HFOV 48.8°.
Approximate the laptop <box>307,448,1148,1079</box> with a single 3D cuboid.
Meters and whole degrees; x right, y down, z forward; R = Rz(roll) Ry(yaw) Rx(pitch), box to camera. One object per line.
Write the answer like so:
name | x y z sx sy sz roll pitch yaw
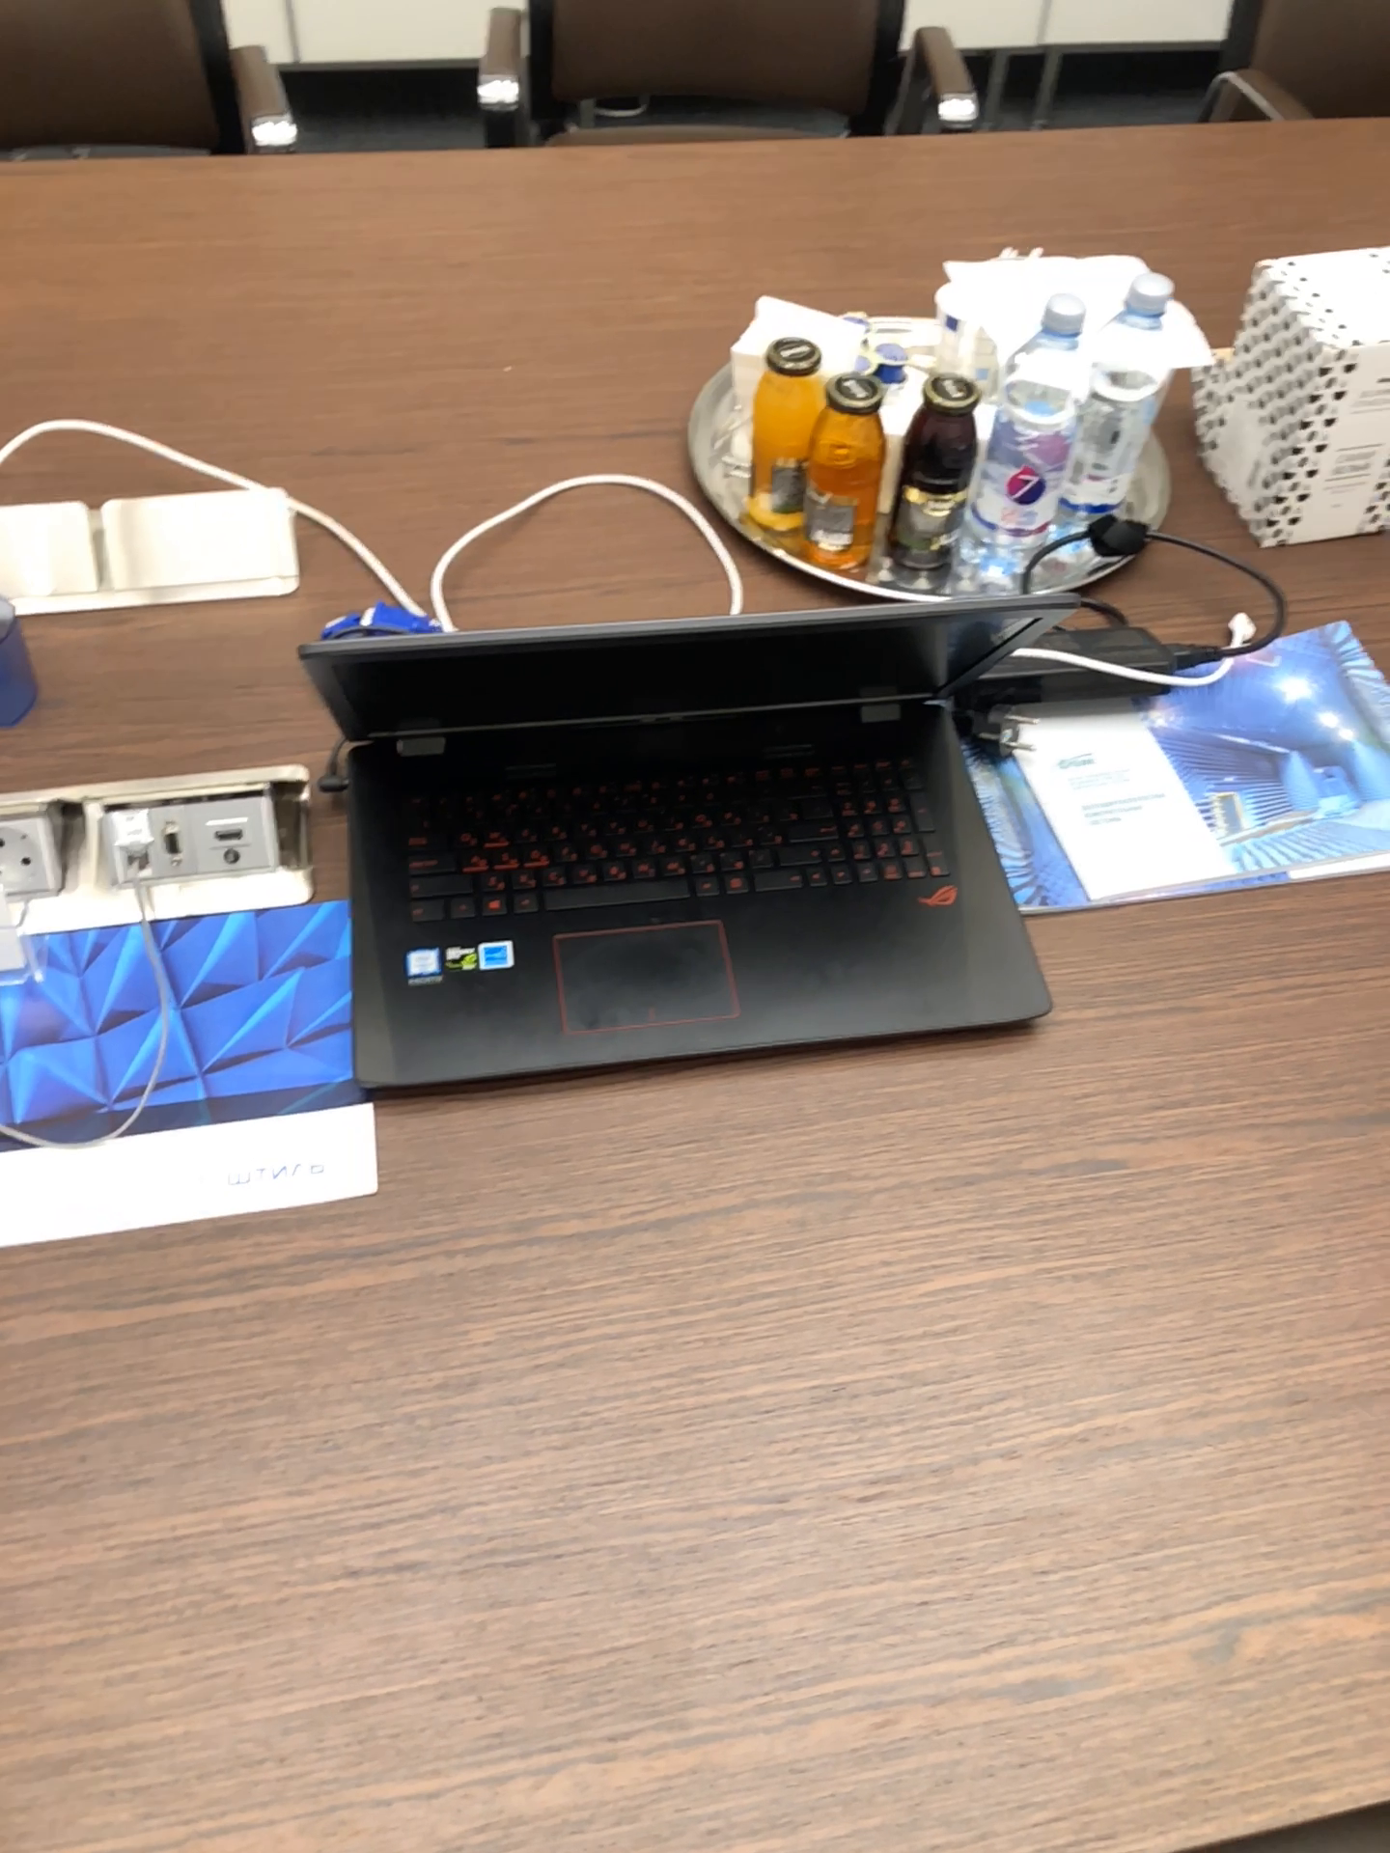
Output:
laptop | -0.001 -0.091 0.820 0.376 0.189 0.238 -5 54 -8
